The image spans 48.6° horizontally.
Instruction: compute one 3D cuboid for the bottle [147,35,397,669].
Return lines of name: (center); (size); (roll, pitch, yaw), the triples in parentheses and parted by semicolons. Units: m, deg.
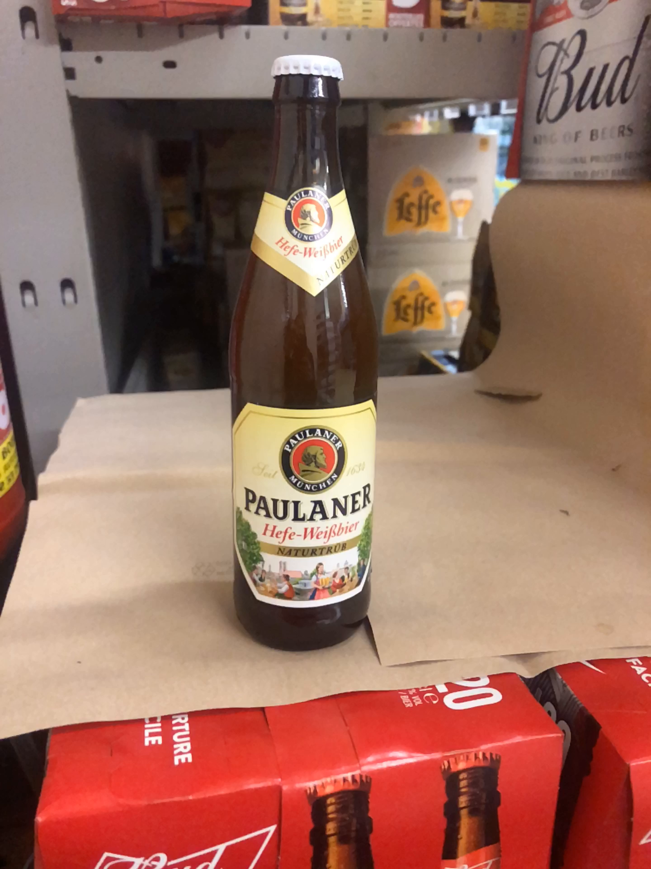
bottle: (-0.012, -0.027, 0.307); (0.080, 0.239, 0.080); (-1, 20, 0)
